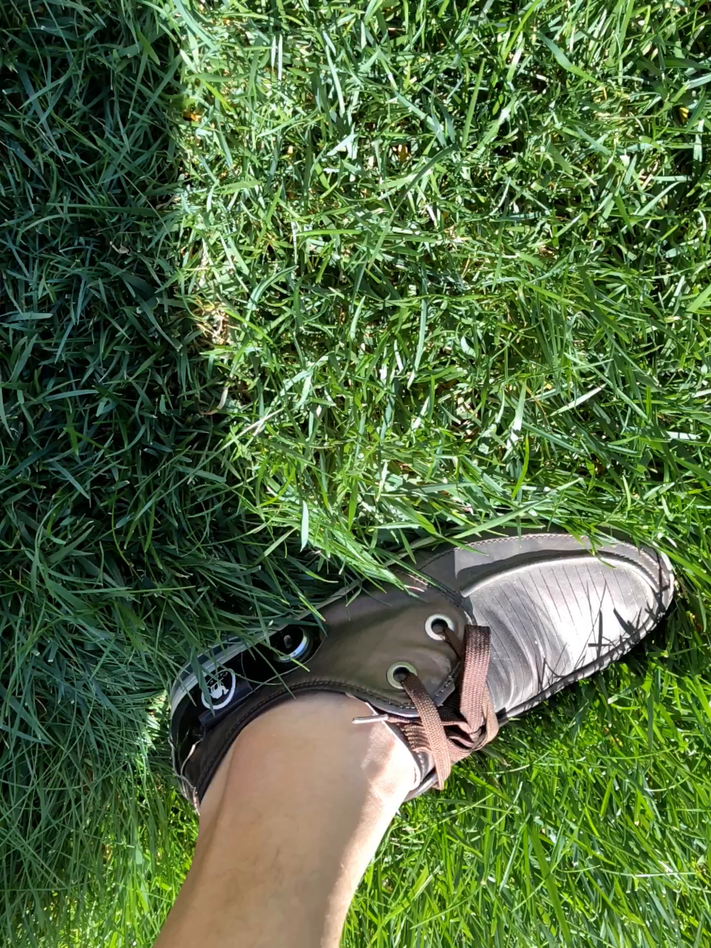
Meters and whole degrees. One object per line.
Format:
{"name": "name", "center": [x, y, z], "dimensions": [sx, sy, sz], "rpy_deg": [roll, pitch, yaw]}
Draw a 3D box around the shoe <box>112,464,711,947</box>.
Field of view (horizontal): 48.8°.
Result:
{"name": "shoe", "center": [0.042, 0.107, 0.391], "dimensions": [0.280, 0.093, 0.112], "rpy_deg": [-21, 108, 0]}
